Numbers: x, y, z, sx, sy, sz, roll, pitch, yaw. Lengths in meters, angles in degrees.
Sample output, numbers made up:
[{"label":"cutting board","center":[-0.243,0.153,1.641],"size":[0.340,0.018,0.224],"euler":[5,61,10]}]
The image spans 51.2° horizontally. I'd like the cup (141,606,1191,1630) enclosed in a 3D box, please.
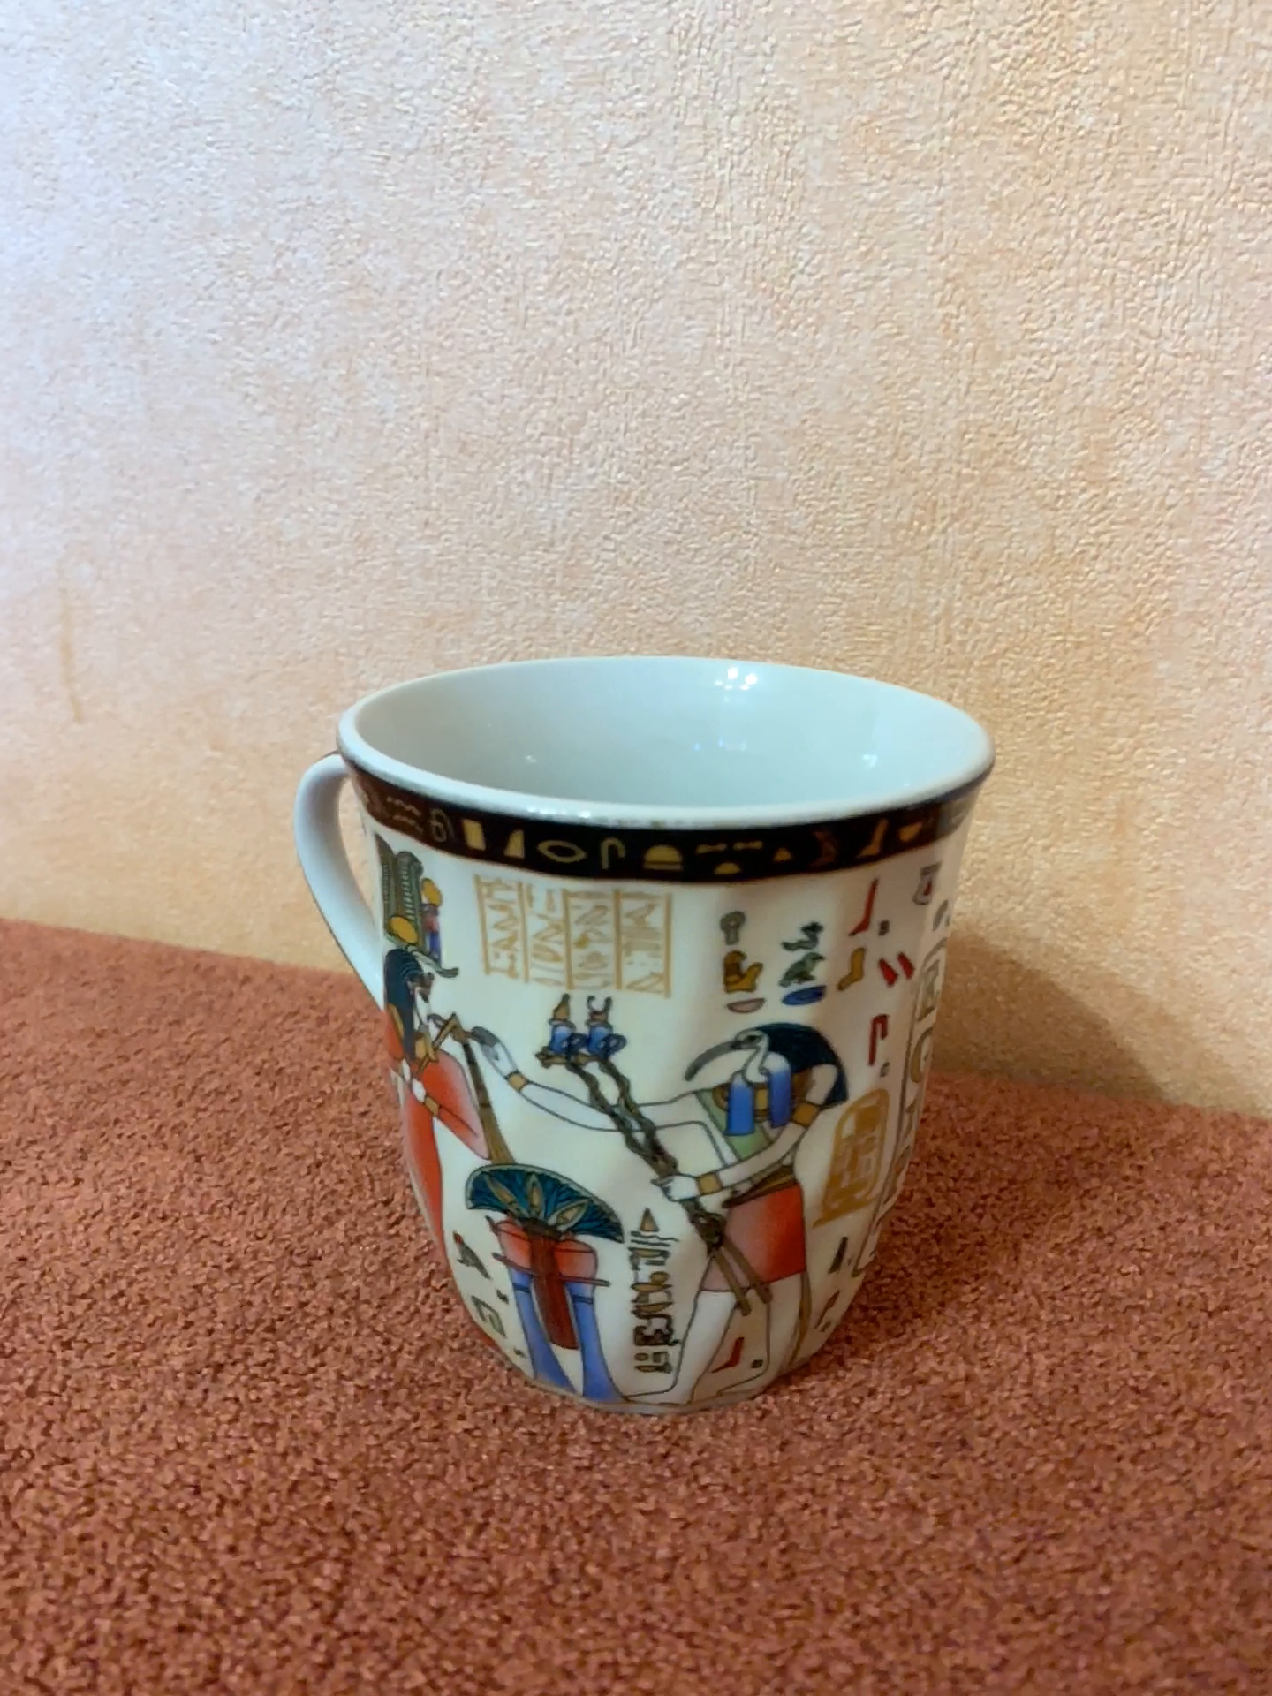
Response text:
[{"label":"cup","center":[0.003,0.021,0.196],"size":[0.116,0.087,0.086],"euler":[15,25,36]}]
